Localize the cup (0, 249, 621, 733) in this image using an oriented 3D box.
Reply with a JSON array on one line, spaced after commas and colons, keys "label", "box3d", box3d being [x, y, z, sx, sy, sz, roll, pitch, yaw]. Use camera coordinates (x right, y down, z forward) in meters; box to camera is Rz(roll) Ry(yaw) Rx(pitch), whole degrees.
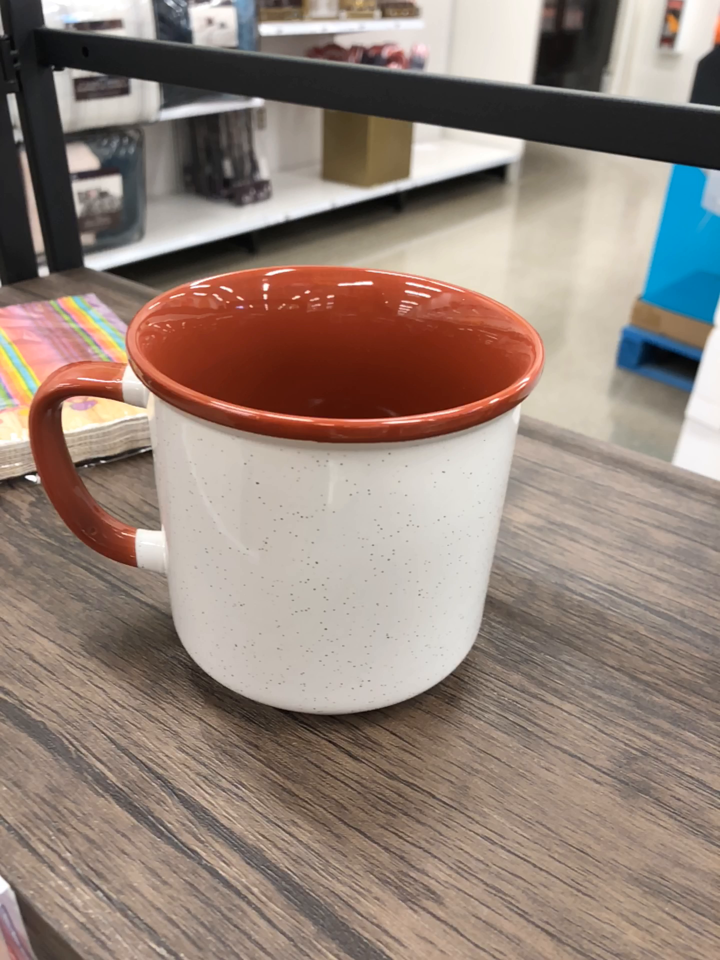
[{"label": "cup", "box3d": [-0.022, -0.004, 0.236, 0.150, 0.090, 0.110, 2, 32, 0]}]
